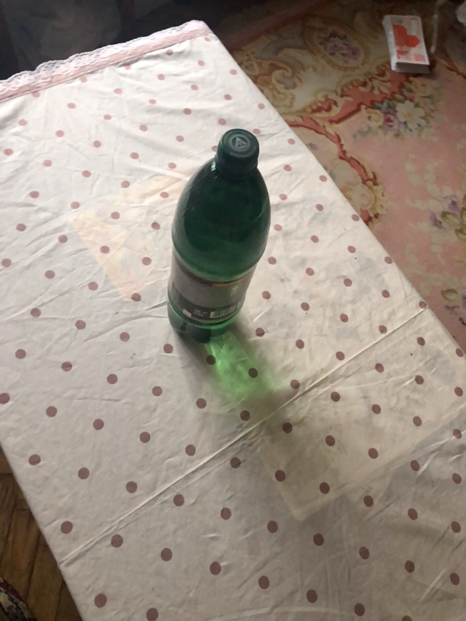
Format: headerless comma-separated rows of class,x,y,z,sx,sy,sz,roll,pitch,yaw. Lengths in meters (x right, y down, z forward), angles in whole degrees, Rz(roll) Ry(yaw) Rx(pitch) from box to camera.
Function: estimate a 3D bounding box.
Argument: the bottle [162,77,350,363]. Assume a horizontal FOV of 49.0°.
bottle,0.002,-0.055,0.479,0.100,0.279,0.100,3,67,-7
